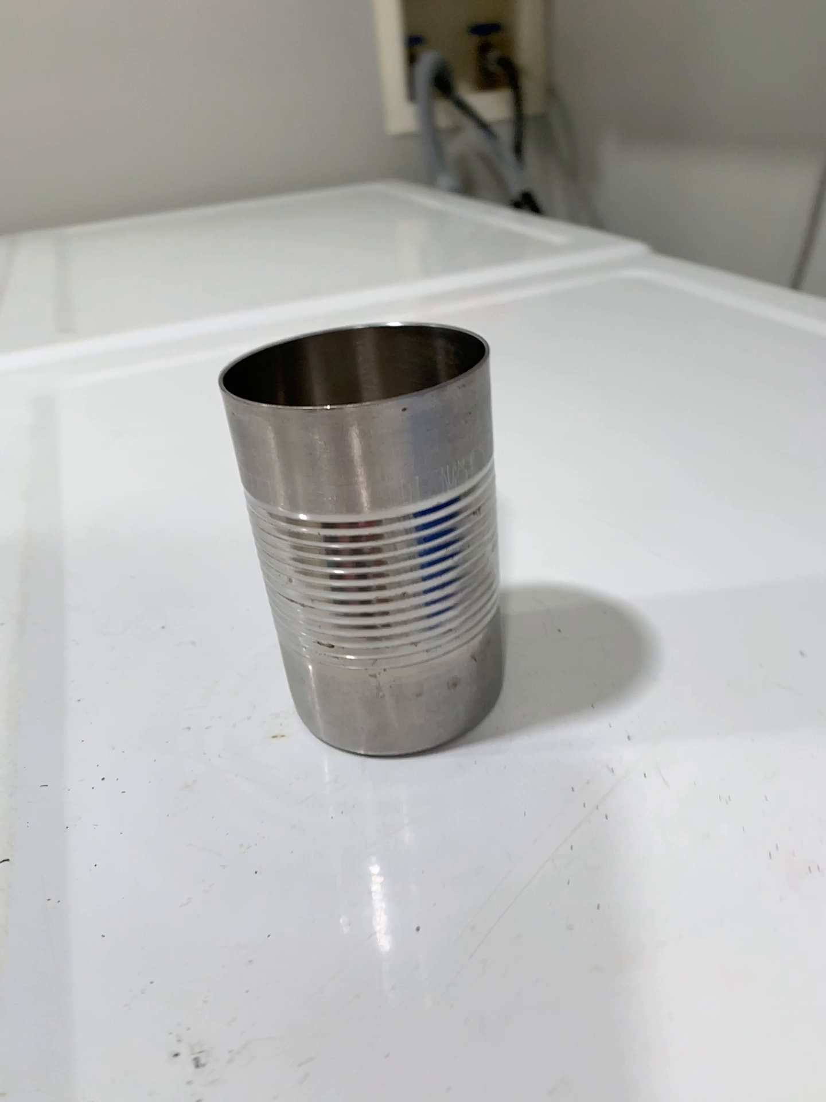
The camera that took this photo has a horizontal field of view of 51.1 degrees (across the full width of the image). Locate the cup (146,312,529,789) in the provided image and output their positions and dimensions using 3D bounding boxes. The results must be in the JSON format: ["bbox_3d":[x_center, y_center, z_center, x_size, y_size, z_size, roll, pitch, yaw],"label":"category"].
[{"bbox_3d":[-0.009,-0.003,0.221,0.070,0.095,0.071,-5,29,3],"label":"cup"}]
